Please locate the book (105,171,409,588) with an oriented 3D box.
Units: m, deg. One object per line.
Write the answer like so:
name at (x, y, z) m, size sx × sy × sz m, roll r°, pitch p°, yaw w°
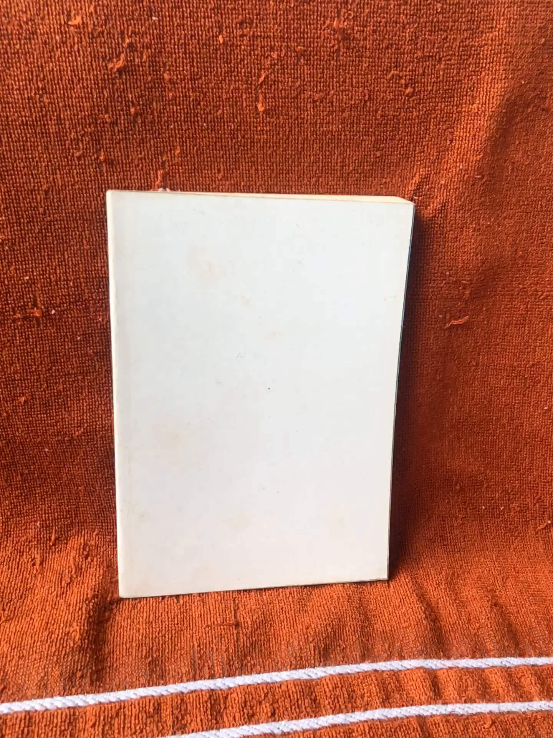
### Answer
book at (-0.011, 0.006, 0.322) m, size 0.150 × 0.200 × 0.030 m, roll 0°, pitch 5°, yaw -11°
